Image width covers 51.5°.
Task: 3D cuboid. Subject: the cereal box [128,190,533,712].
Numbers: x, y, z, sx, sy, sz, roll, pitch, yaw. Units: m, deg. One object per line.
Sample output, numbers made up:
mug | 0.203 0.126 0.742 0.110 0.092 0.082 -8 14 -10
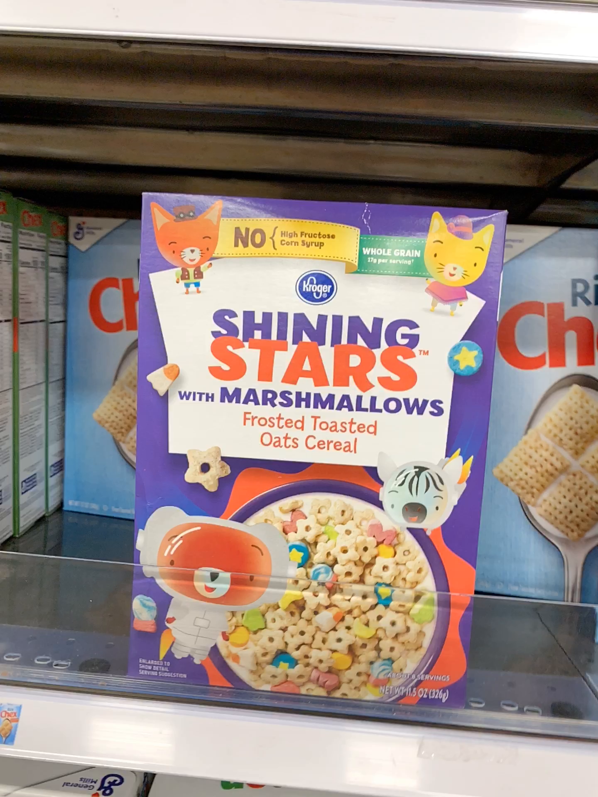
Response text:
cereal box | 0.013 0.029 0.354 0.200 0.270 0.050 3 5 2
